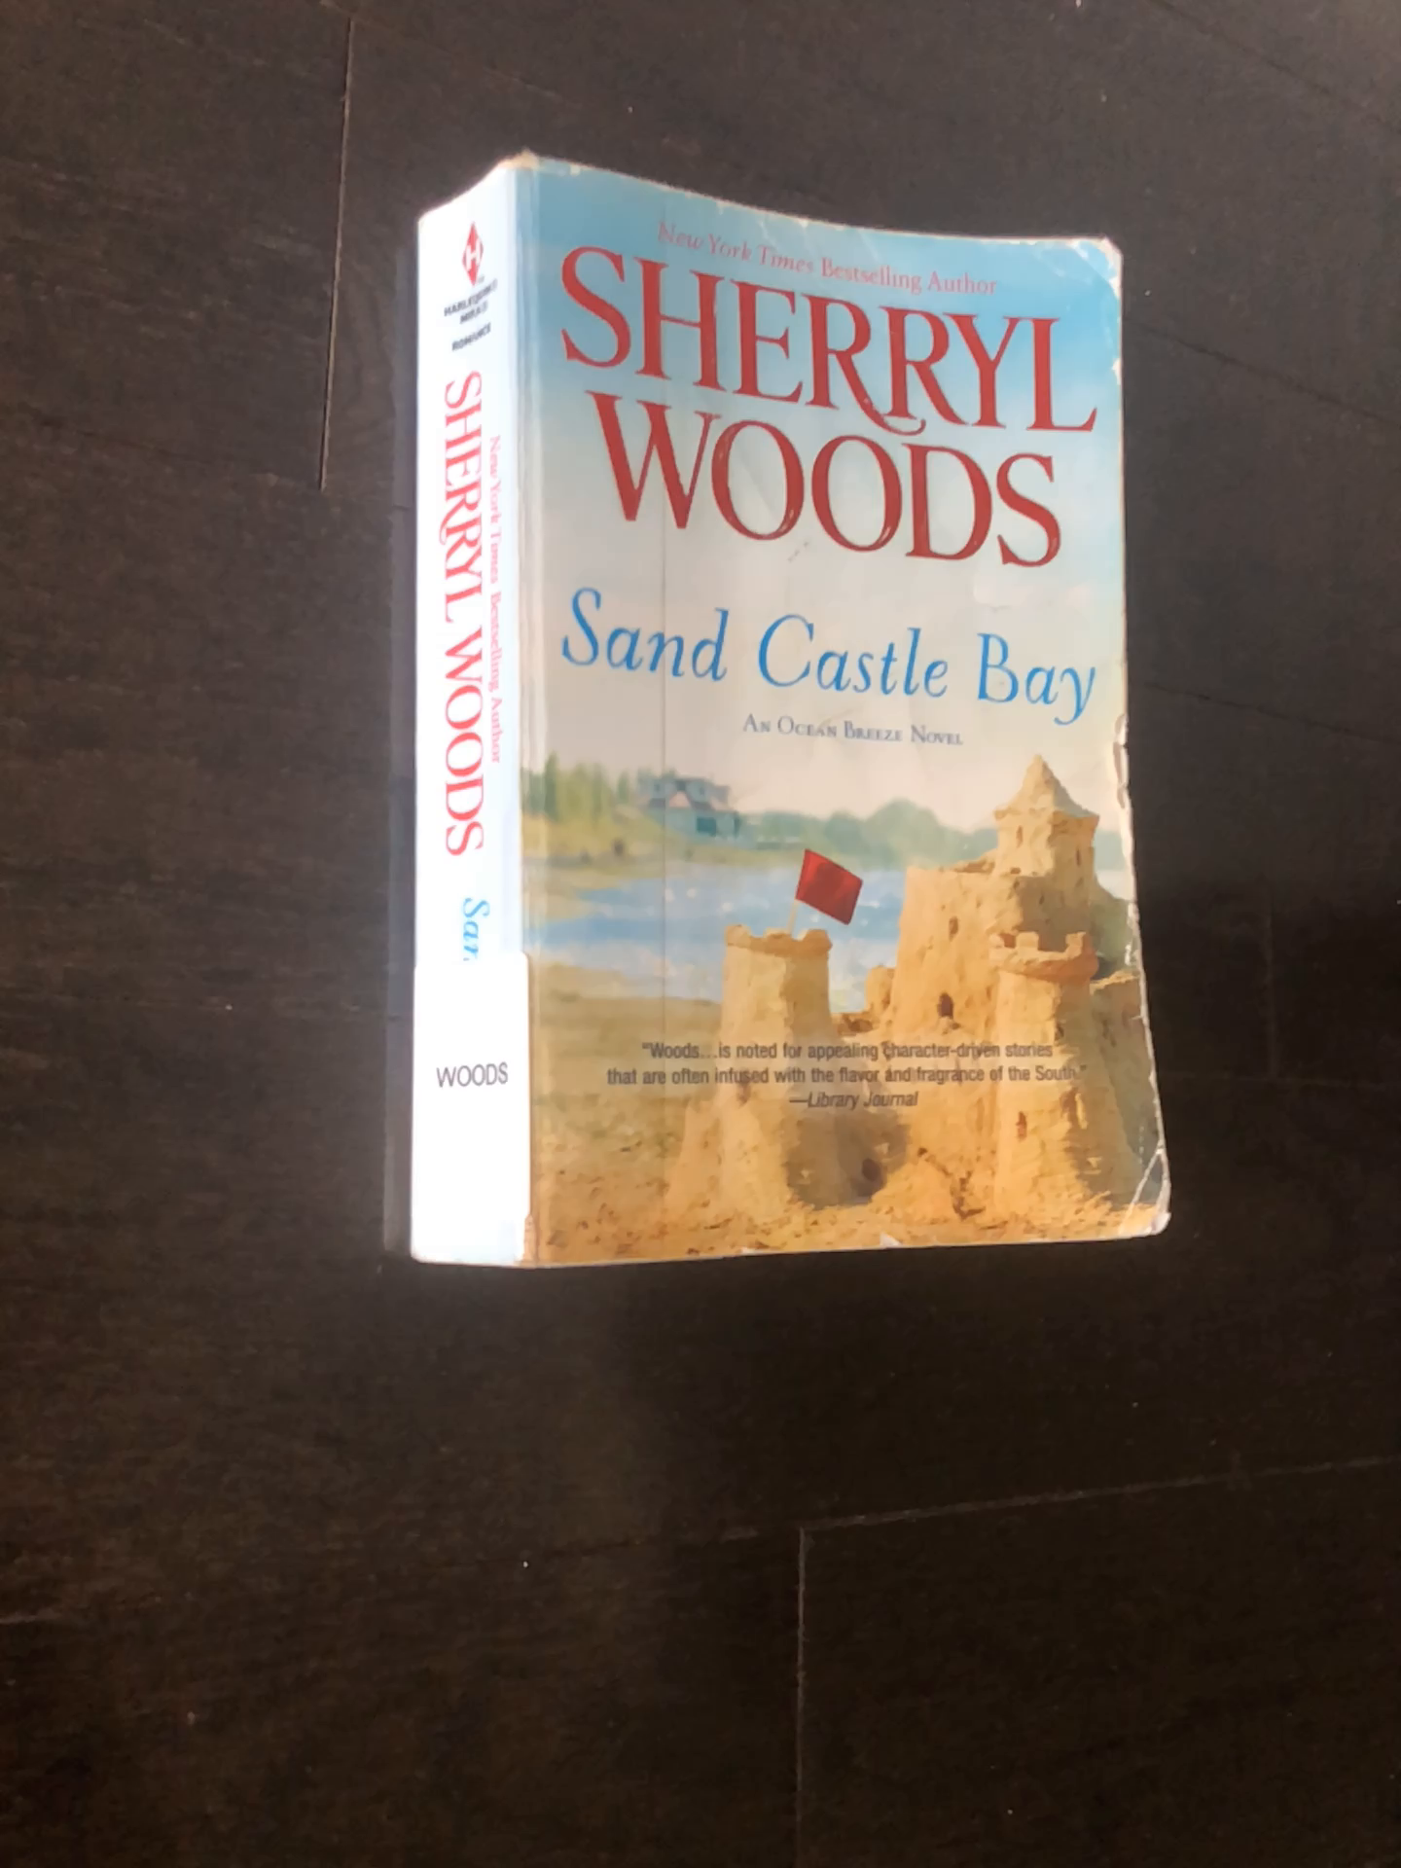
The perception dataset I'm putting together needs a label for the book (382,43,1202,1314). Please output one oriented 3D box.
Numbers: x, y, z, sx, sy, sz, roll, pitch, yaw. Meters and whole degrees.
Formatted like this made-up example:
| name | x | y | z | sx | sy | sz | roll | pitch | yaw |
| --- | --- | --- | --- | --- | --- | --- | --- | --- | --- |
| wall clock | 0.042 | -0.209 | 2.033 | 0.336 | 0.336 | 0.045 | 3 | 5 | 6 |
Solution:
| name | x | y | z | sx | sy | sz | roll | pitch | yaw |
| --- | --- | --- | --- | --- | --- | --- | --- | --- | --- |
| book | 0.017 | -0.031 | 0.237 | 0.120 | 0.037 | 0.161 | 3 | 85 | -26 |
